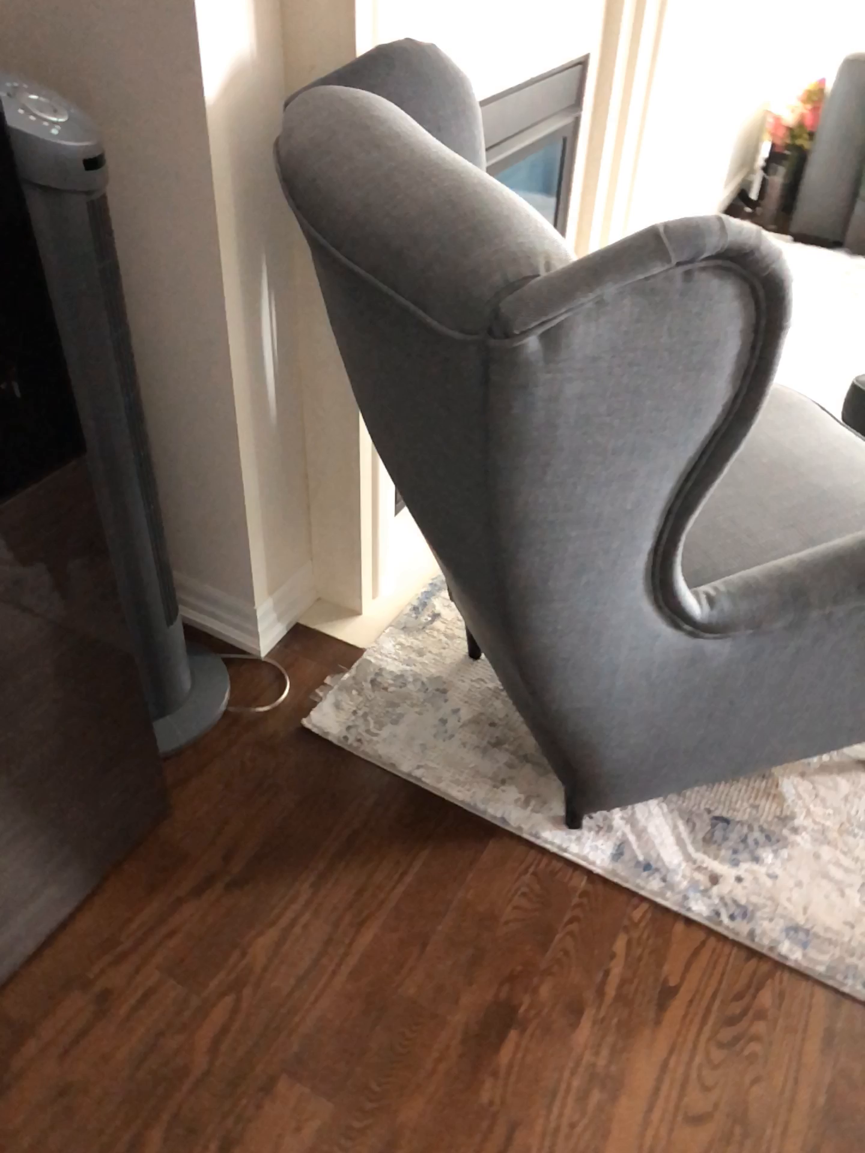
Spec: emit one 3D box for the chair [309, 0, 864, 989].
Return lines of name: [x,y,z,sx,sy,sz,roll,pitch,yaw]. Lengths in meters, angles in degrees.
chair: [0.374,-0.176,1.337,0.851,0.966,0.803,-13,42,-19]
